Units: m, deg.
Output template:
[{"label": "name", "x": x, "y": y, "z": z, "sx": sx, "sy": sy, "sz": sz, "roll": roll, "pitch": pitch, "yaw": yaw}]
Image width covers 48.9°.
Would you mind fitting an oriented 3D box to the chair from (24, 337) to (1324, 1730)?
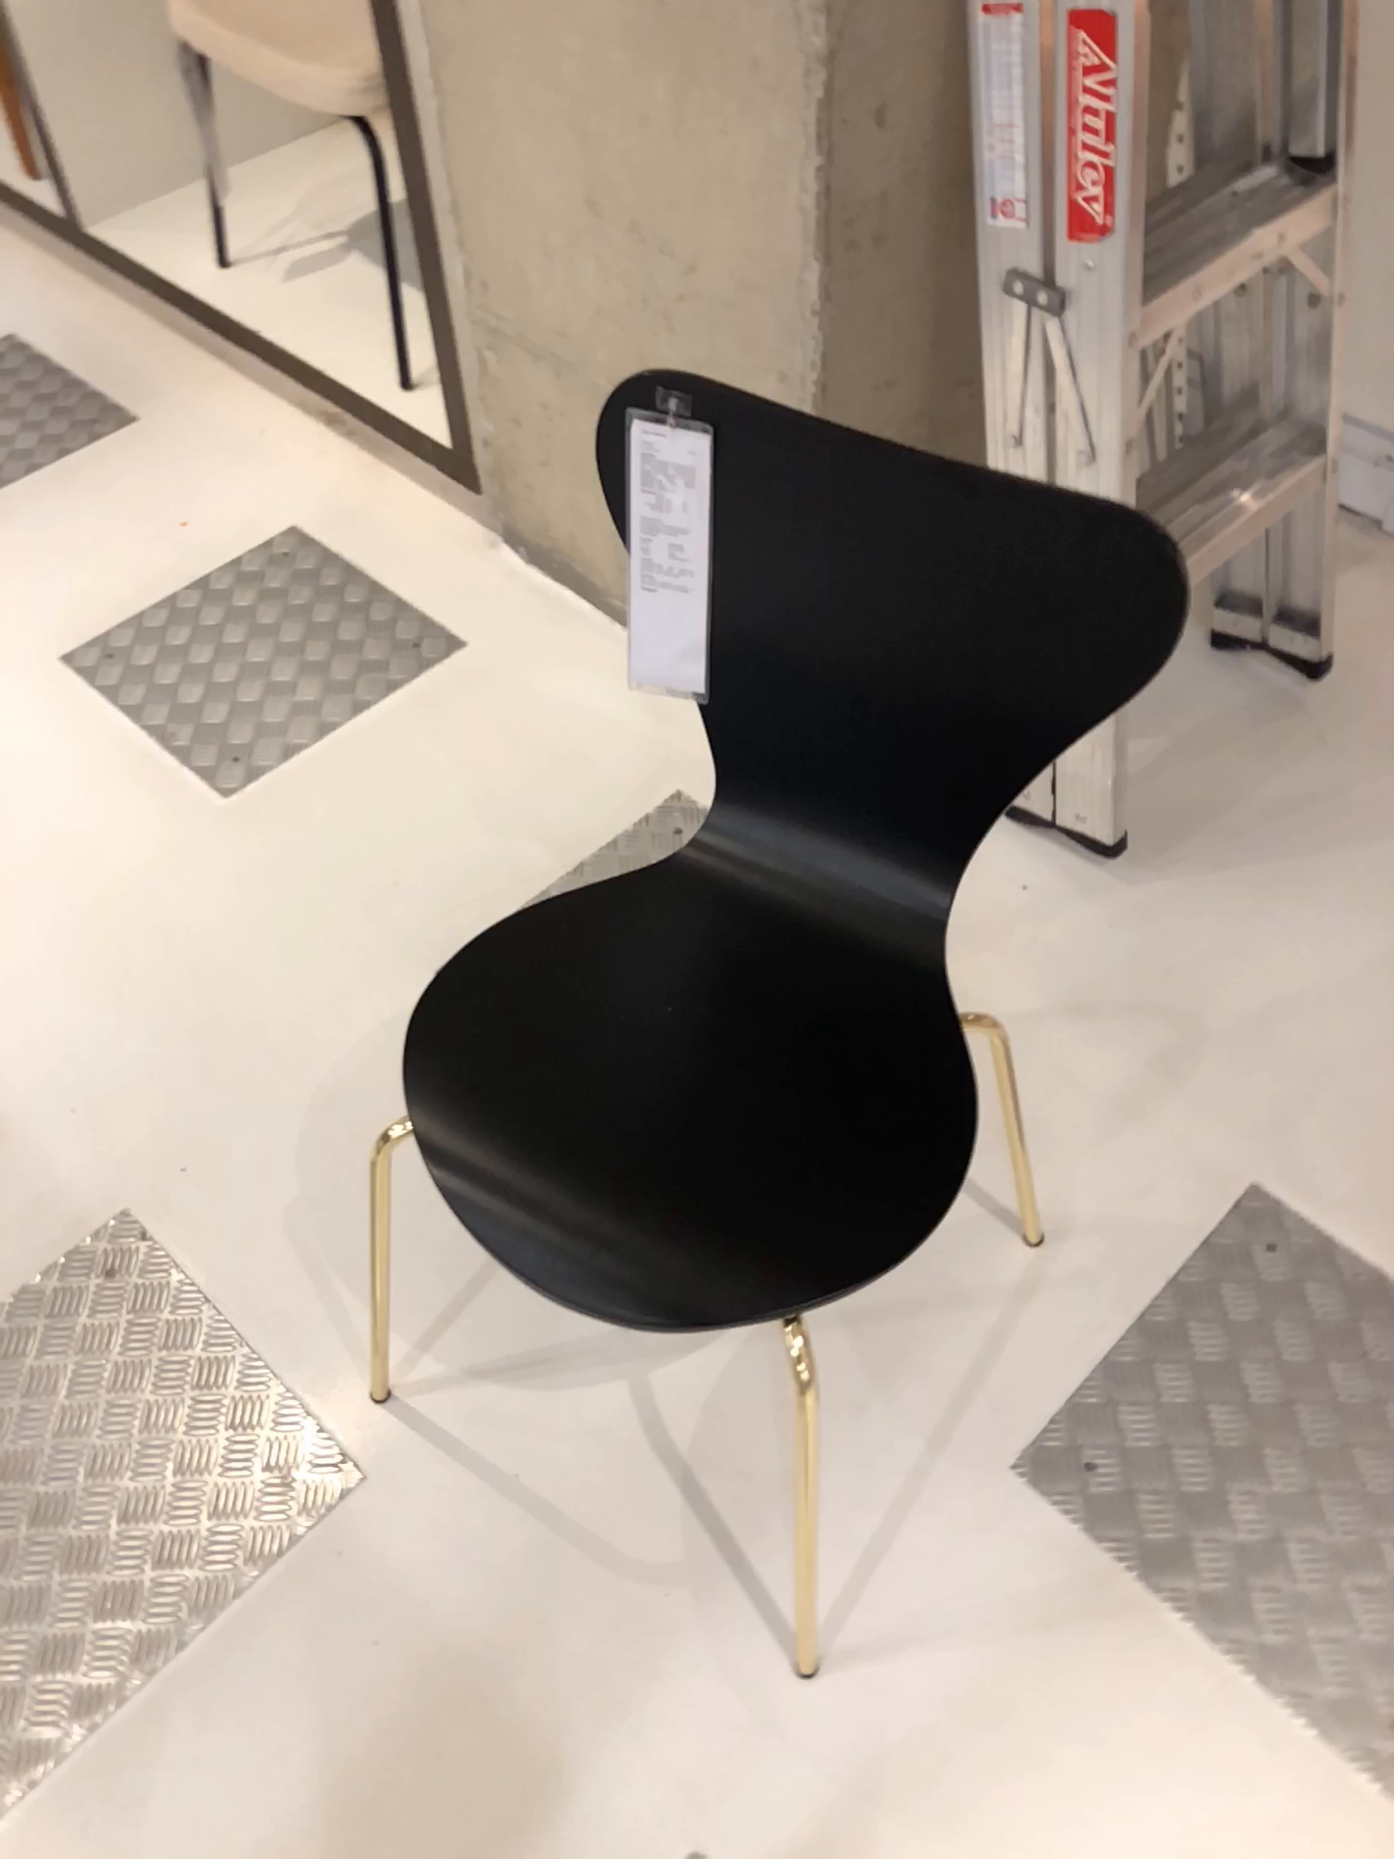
[{"label": "chair", "x": 0.022, "y": 0.108, "z": 1.152, "sx": 0.511, "sy": 0.776, "sz": 0.542, "roll": 25, "pitch": 56, "yaw": 22}]
